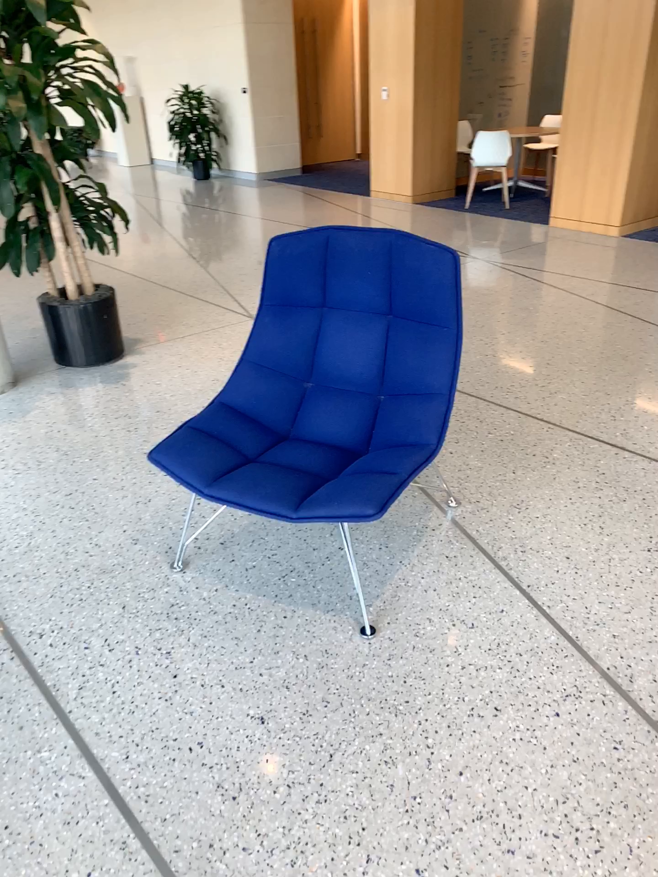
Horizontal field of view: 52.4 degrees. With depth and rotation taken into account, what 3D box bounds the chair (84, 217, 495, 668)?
[{"bbox_3d":[-0.044,-0.081,2.034,0.800,0.963,0.833,12,31,27],"label":"chair"}]
